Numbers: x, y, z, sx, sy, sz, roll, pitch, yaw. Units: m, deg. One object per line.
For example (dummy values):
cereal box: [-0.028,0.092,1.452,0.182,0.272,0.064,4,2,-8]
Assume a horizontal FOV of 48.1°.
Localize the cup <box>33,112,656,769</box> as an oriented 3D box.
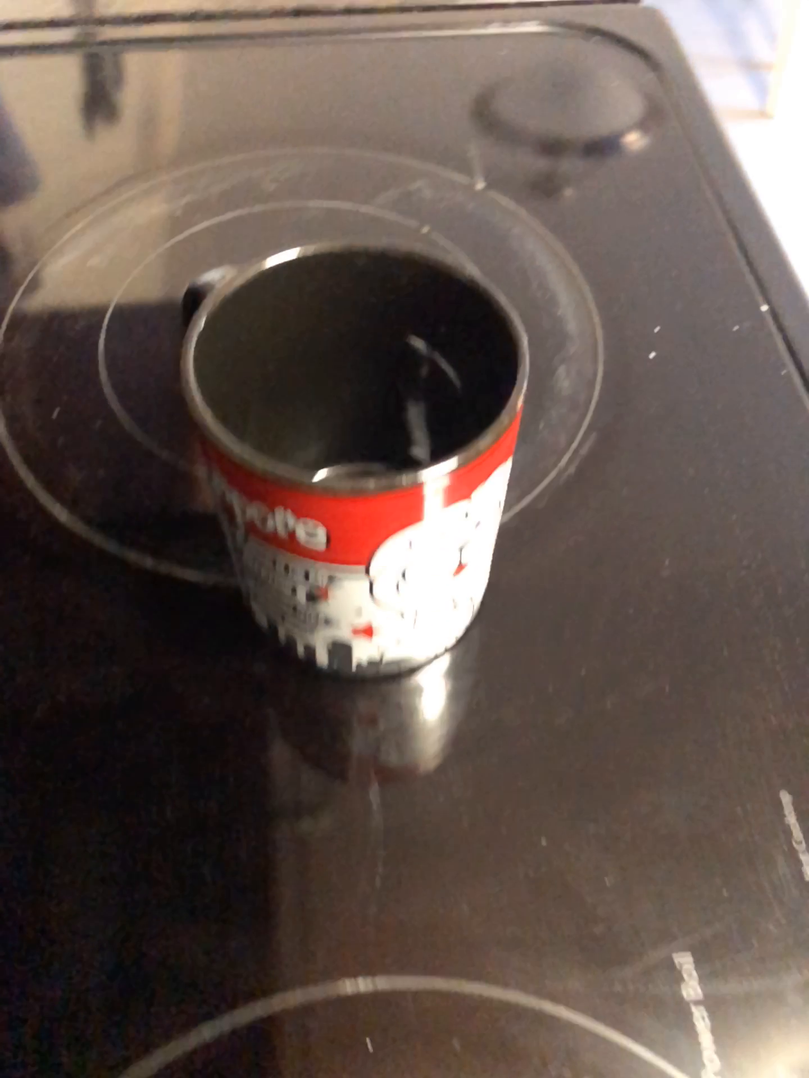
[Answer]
cup: [-0.020,-0.030,0.248,0.090,0.090,0.130,-28,61,-18]
